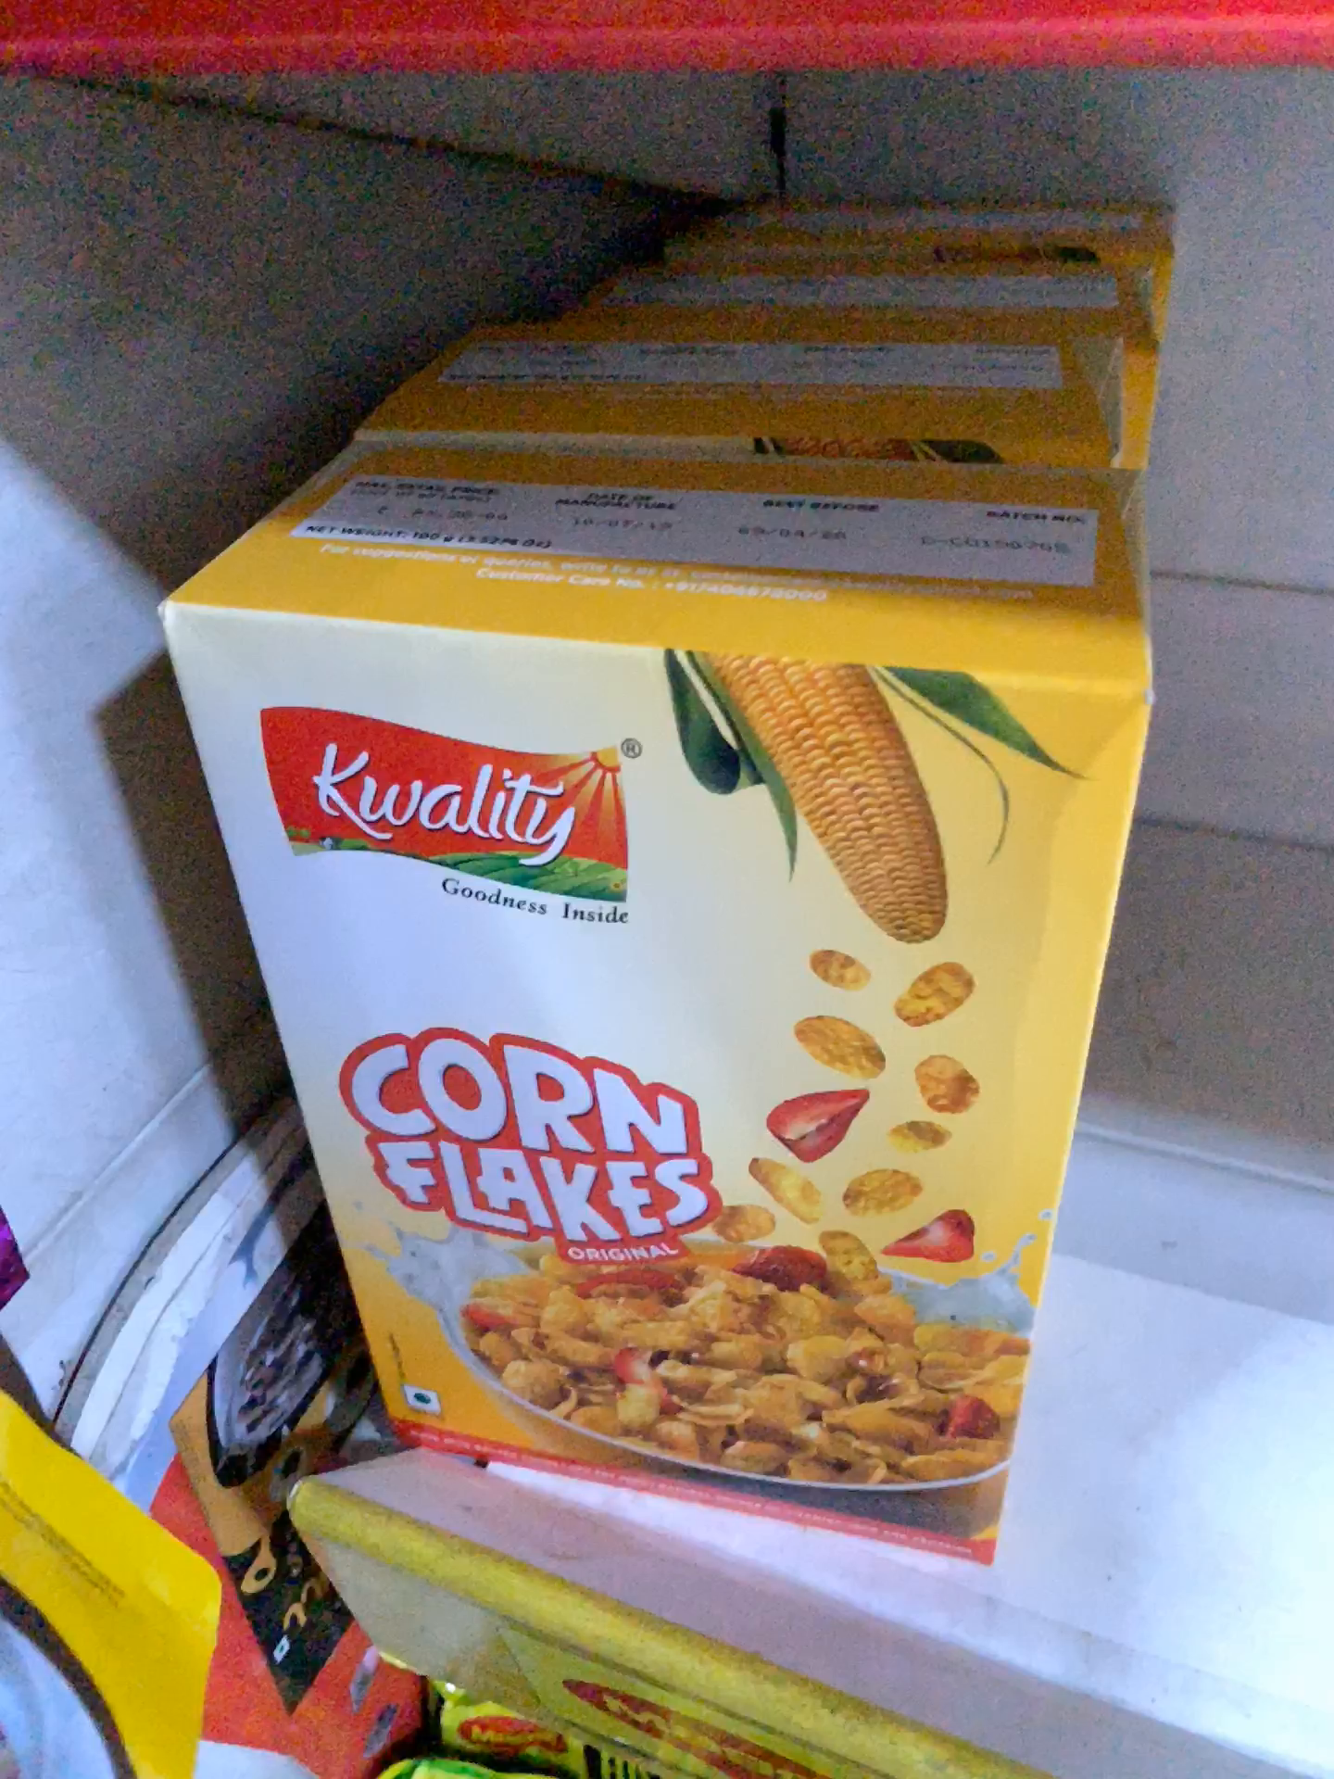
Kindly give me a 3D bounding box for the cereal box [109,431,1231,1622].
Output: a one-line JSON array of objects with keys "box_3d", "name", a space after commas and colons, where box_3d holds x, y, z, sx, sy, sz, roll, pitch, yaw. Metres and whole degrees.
[{"box_3d": [0.007, 0.028, 0.220, 0.120, 0.178, 0.060, 6, 37, 13], "name": "cereal box"}]
